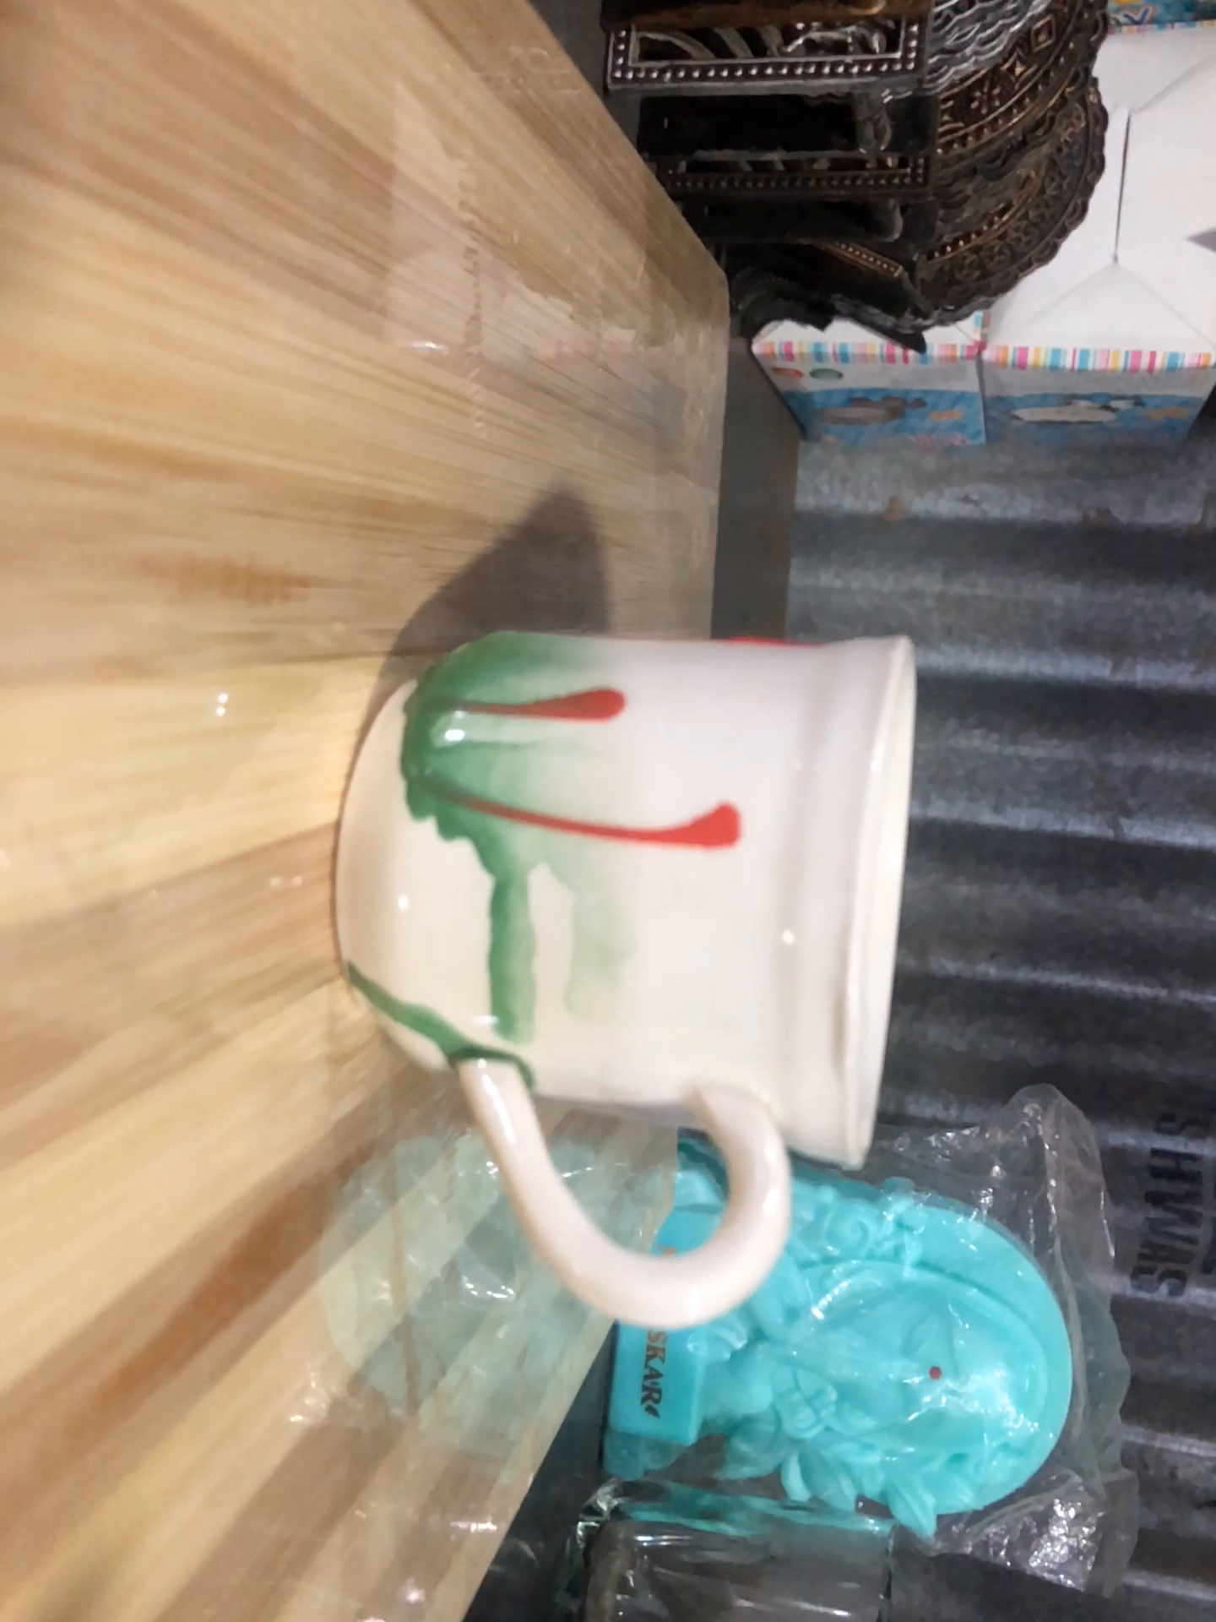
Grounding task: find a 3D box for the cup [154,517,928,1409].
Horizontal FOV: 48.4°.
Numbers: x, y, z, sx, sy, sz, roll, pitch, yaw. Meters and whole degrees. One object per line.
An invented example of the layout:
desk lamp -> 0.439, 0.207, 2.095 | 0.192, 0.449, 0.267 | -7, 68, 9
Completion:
cup -> 0.003, 0.023, 0.186 | 0.080, 0.070, 0.090 | 73, 25, -59
